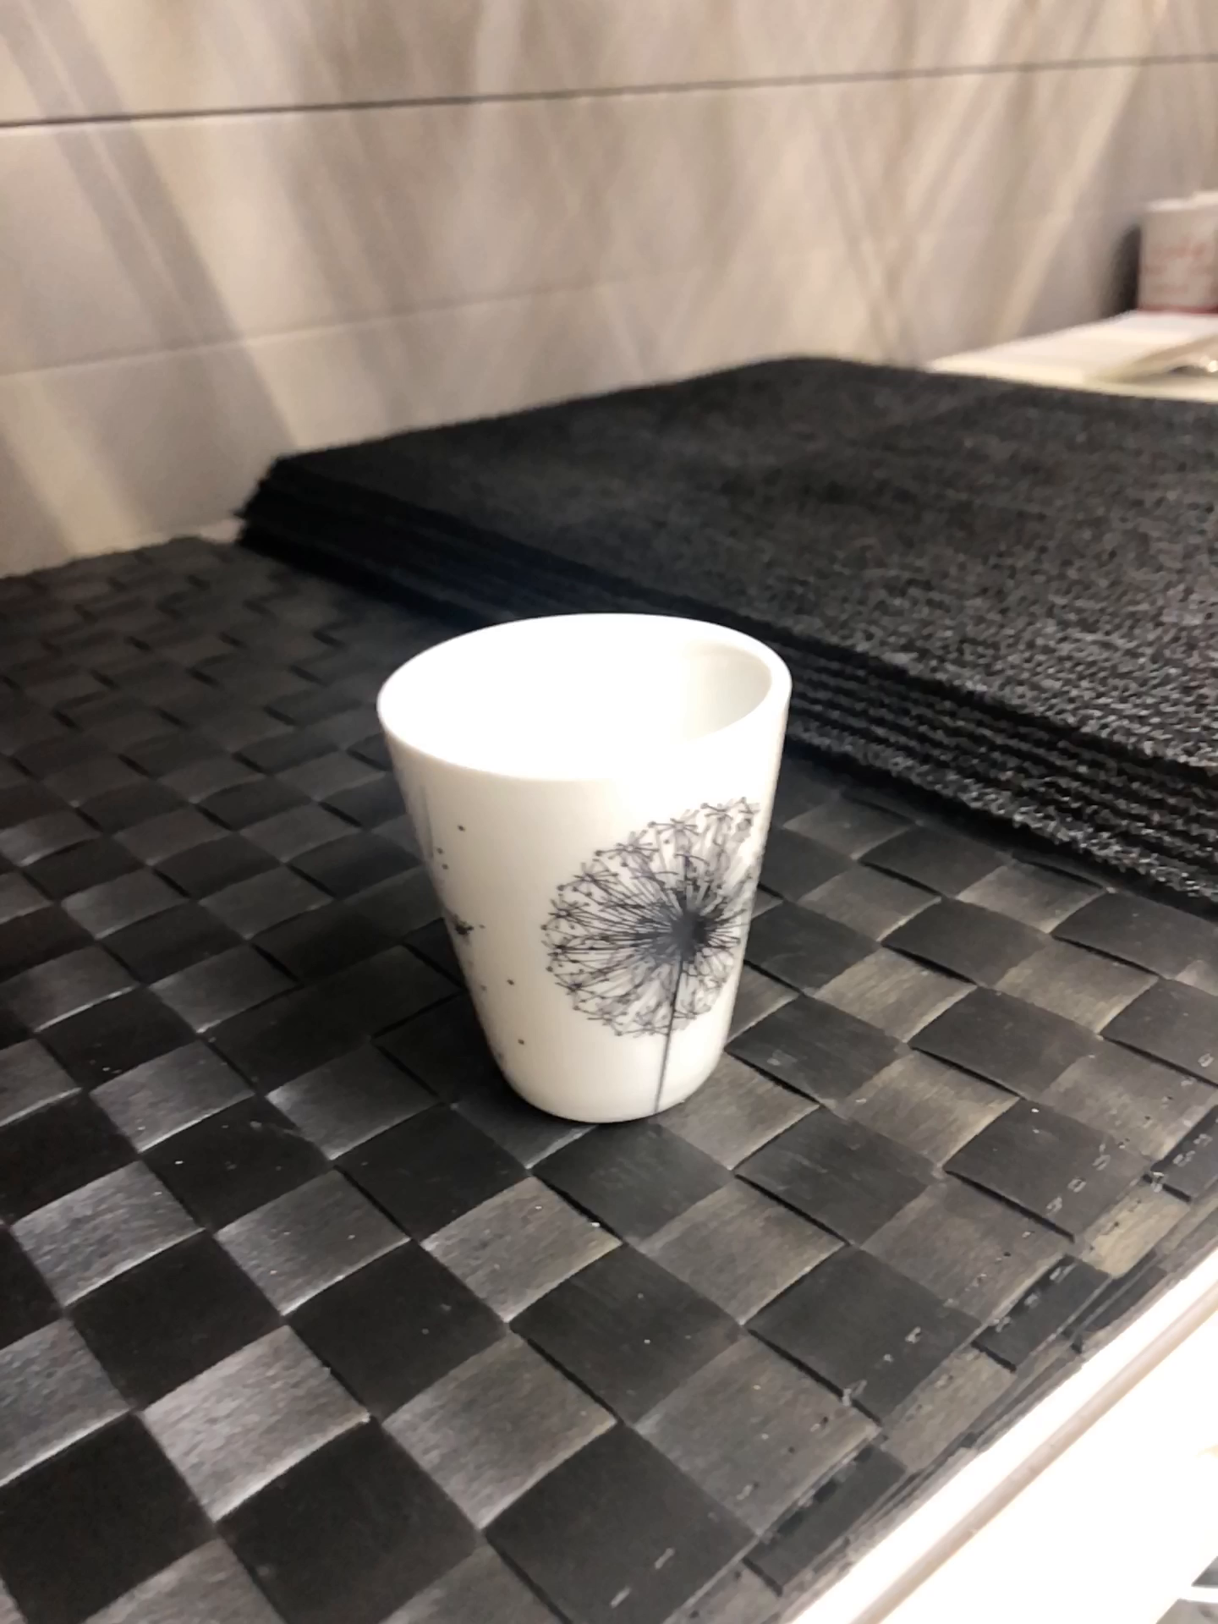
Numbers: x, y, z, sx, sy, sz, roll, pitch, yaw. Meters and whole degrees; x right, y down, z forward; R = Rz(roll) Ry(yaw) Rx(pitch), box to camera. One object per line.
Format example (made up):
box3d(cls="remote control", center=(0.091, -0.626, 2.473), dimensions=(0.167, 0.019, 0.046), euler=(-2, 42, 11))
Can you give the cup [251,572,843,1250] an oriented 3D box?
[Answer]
box3d(cls="cup", center=(-0.005, 0.008, 0.209), dimensions=(0.056, 0.060, 0.081), euler=(13, 31, 18))
